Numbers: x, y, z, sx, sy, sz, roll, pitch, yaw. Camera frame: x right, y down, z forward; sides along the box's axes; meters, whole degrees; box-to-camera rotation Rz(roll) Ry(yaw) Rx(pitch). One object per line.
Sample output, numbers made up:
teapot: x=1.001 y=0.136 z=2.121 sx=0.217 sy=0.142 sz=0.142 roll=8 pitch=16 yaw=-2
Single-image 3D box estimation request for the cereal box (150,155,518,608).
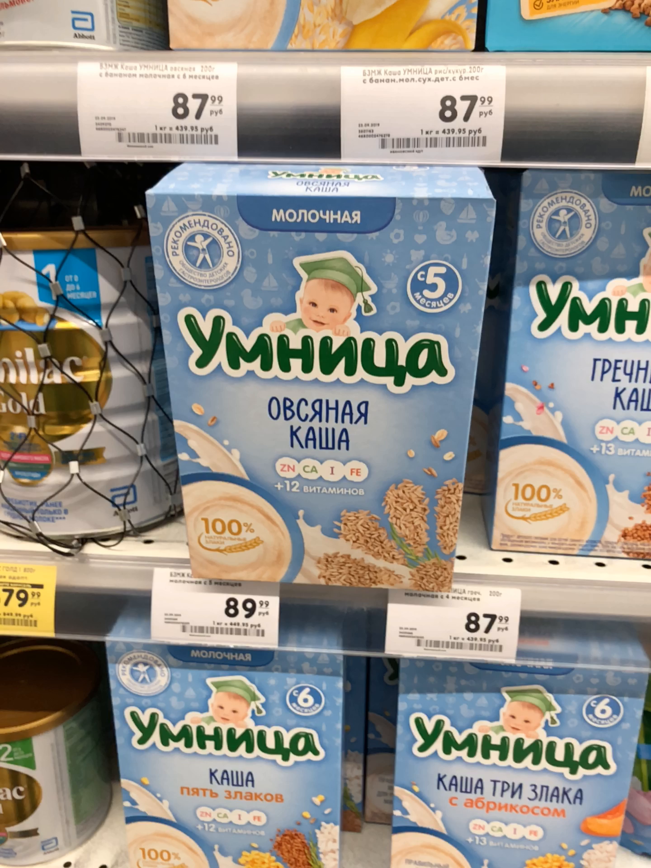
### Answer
cereal box: x=0.006 y=-0.019 z=0.352 sx=0.140 sy=0.209 sz=0.060 roll=3 pitch=30 yaw=5
